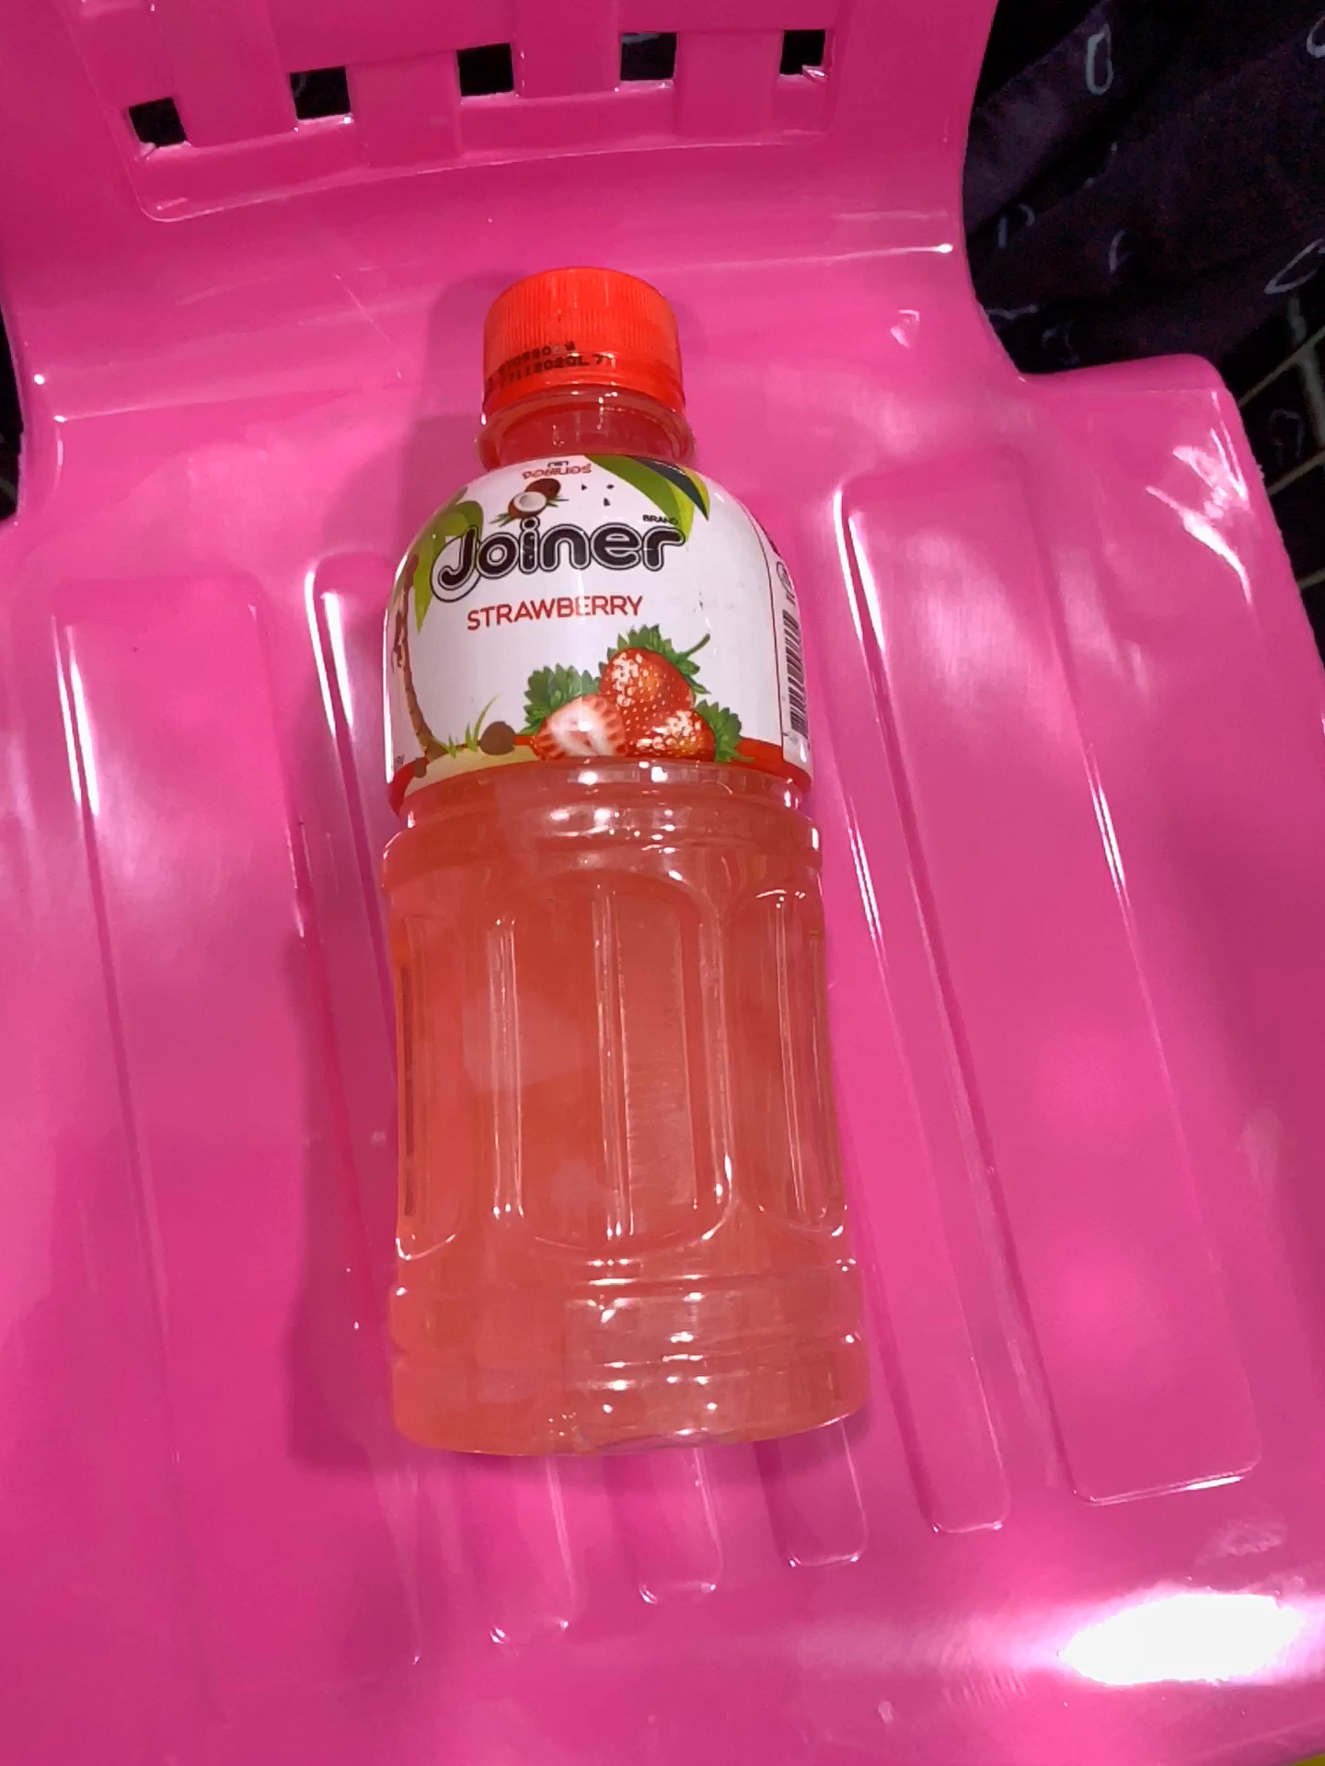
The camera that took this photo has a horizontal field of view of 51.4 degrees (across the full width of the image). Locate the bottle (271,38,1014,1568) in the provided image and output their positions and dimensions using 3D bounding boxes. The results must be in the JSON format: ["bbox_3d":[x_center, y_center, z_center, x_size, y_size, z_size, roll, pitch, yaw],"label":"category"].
[{"bbox_3d":[-0.007,-0.011,0.180,0.070,0.070,0.160,-3,83,-7],"label":"bottle"}]
